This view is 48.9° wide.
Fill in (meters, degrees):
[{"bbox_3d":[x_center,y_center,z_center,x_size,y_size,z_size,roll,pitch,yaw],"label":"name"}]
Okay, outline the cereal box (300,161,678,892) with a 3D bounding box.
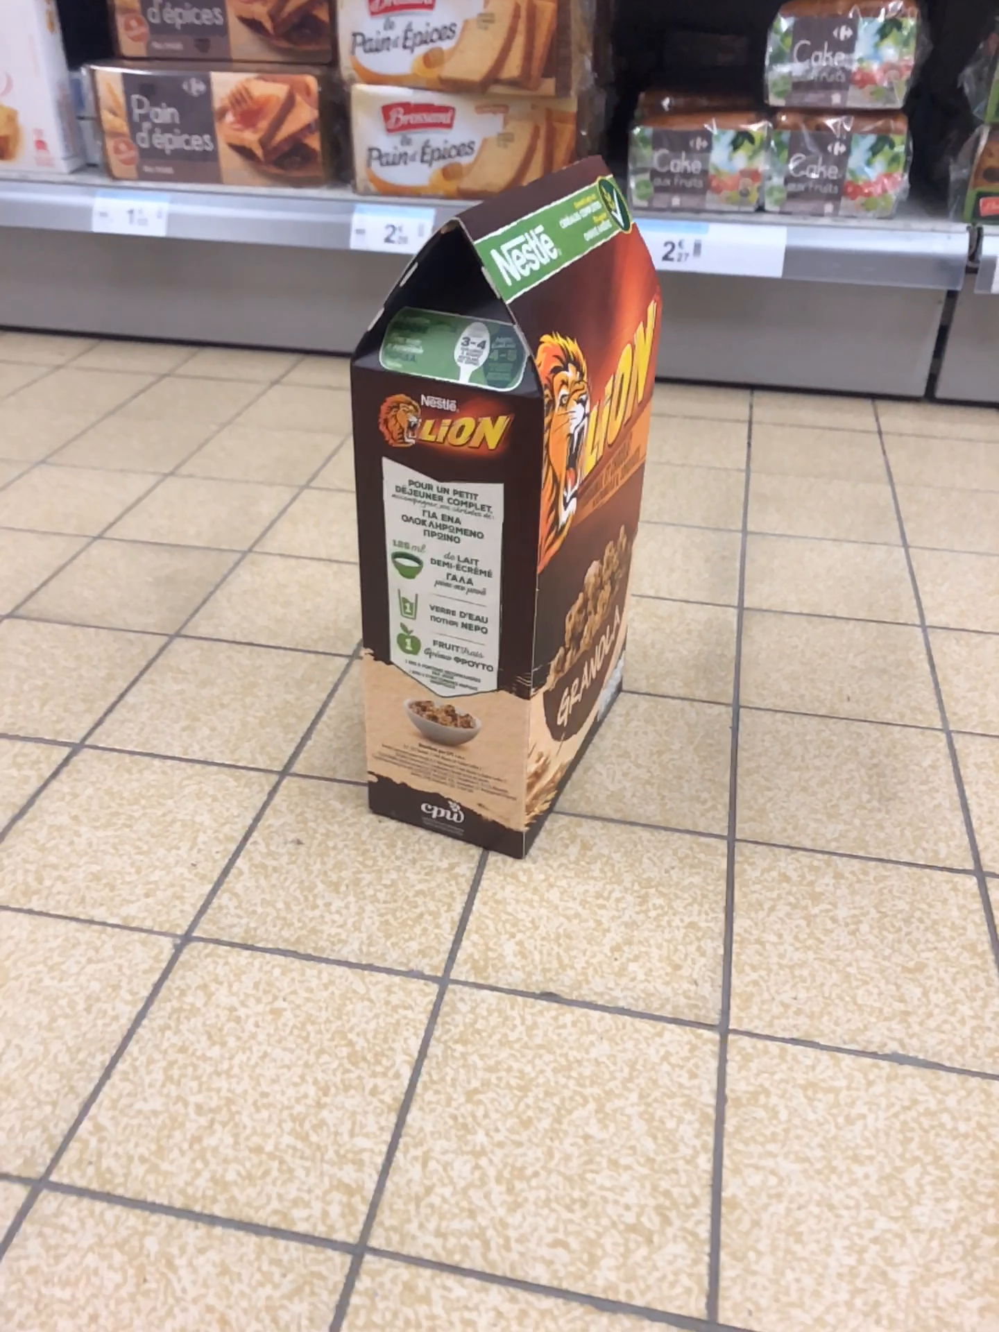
[{"bbox_3d":[0.003,-0.059,0.452,0.080,0.248,0.151,13,34,19],"label":"cereal box"}]
